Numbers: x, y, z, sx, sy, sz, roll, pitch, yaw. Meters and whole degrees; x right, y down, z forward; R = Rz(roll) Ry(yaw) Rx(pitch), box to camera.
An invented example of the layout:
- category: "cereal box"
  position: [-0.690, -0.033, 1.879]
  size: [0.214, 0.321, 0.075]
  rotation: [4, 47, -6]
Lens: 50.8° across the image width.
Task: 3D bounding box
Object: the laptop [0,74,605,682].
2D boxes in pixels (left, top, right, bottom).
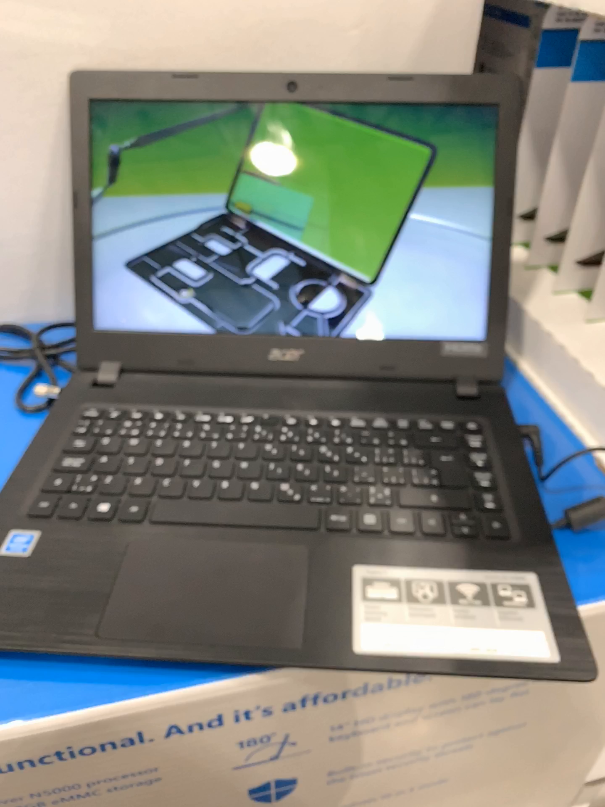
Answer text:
- category: "laptop"
  position: [-0.015, -0.055, 0.366]
  size: [0.318, 0.186, 0.329]
  rotation: [2, 37, 3]
